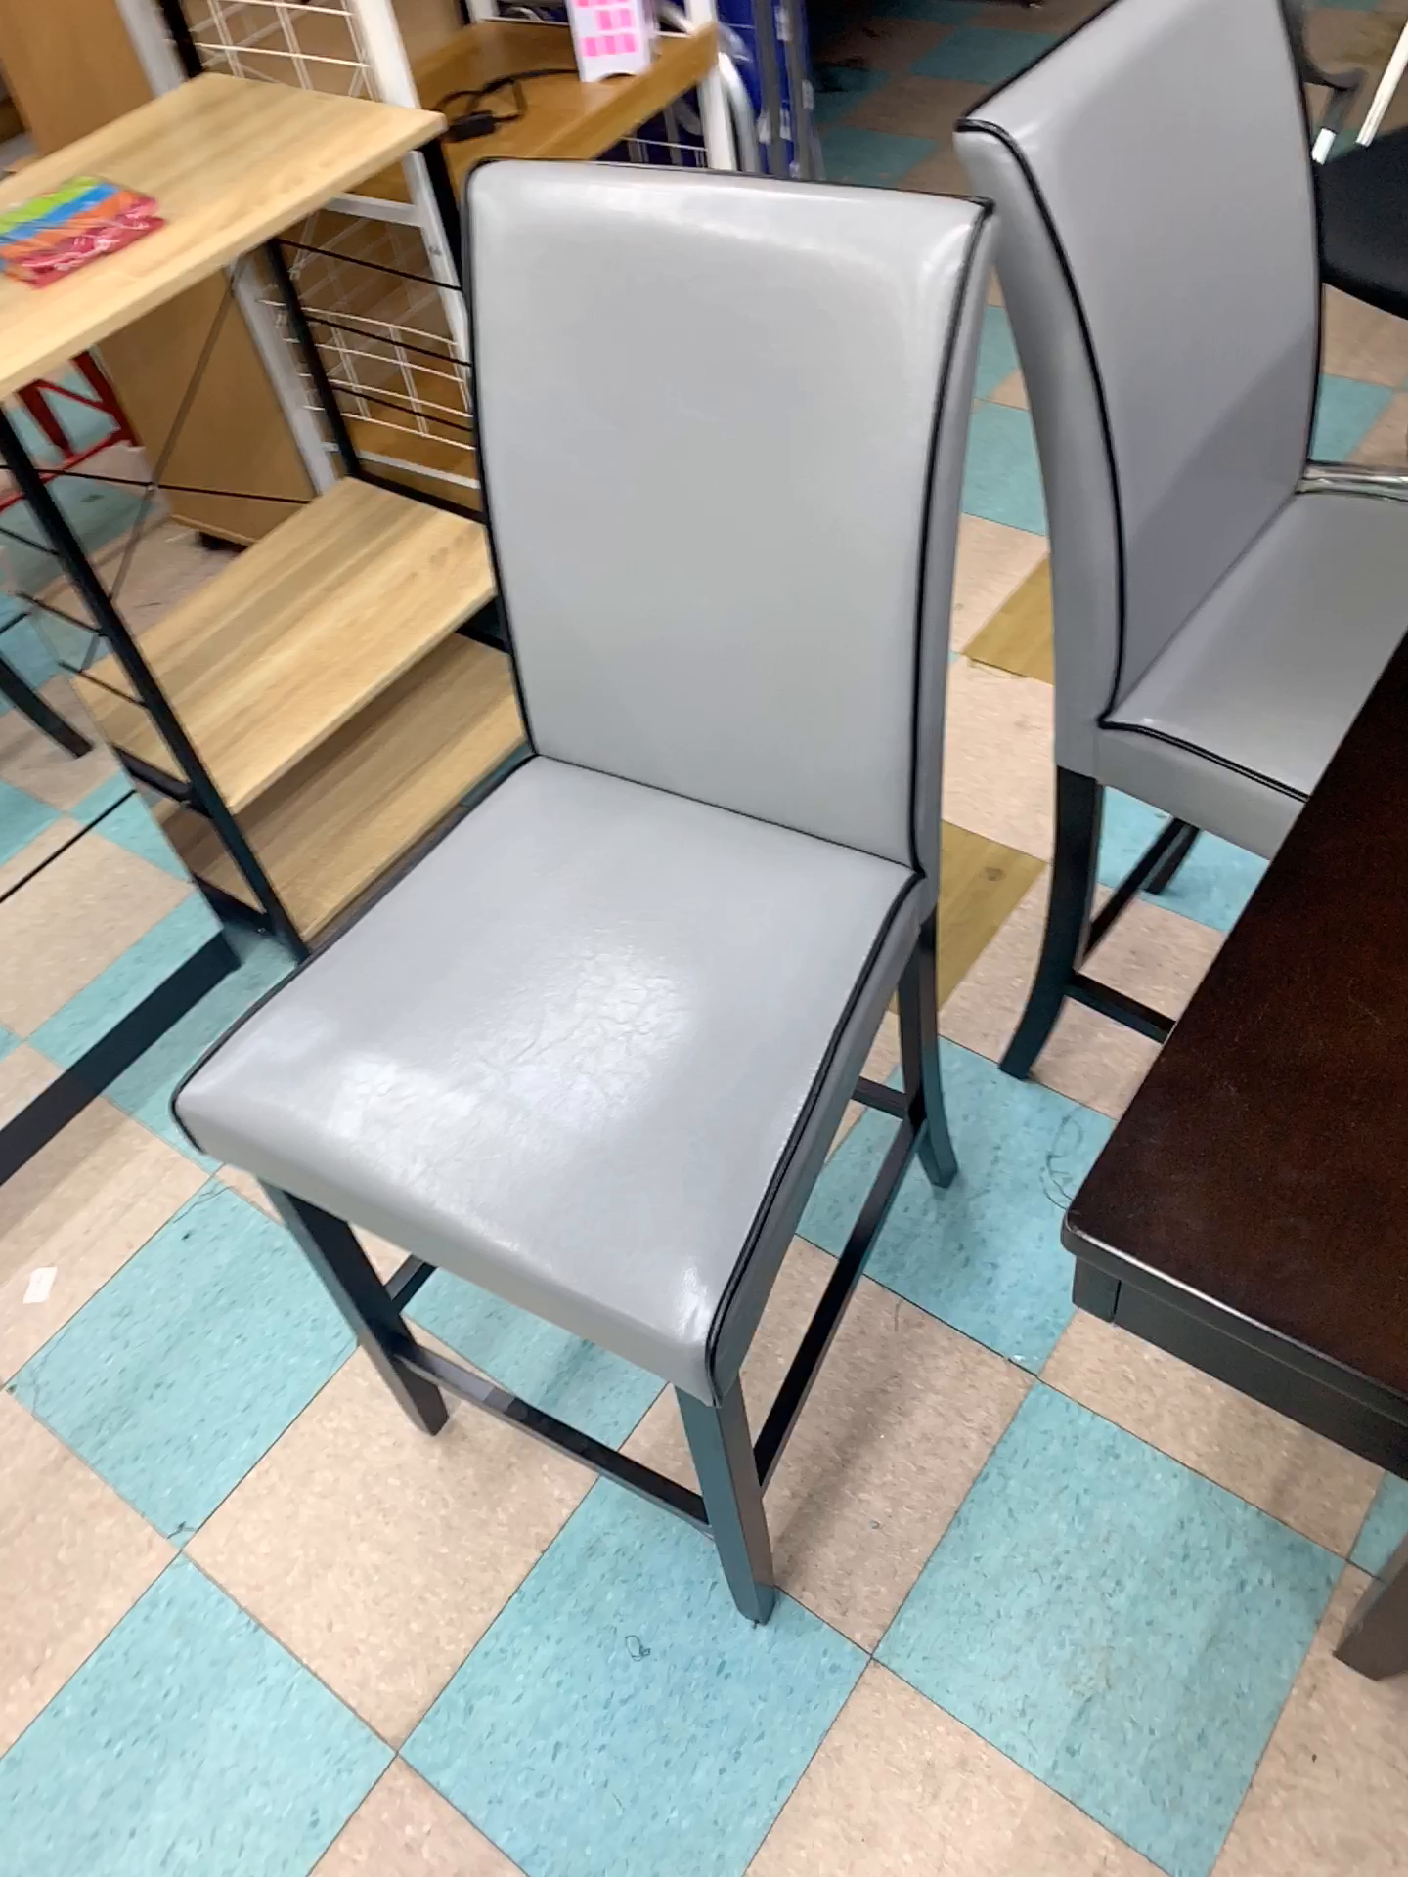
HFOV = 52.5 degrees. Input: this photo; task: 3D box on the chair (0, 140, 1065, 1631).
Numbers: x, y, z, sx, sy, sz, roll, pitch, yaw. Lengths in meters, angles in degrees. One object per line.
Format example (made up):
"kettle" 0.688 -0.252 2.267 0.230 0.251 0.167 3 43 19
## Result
"chair" -0.071 0.021 1.090 0.451 0.930 0.562 20 56 24
